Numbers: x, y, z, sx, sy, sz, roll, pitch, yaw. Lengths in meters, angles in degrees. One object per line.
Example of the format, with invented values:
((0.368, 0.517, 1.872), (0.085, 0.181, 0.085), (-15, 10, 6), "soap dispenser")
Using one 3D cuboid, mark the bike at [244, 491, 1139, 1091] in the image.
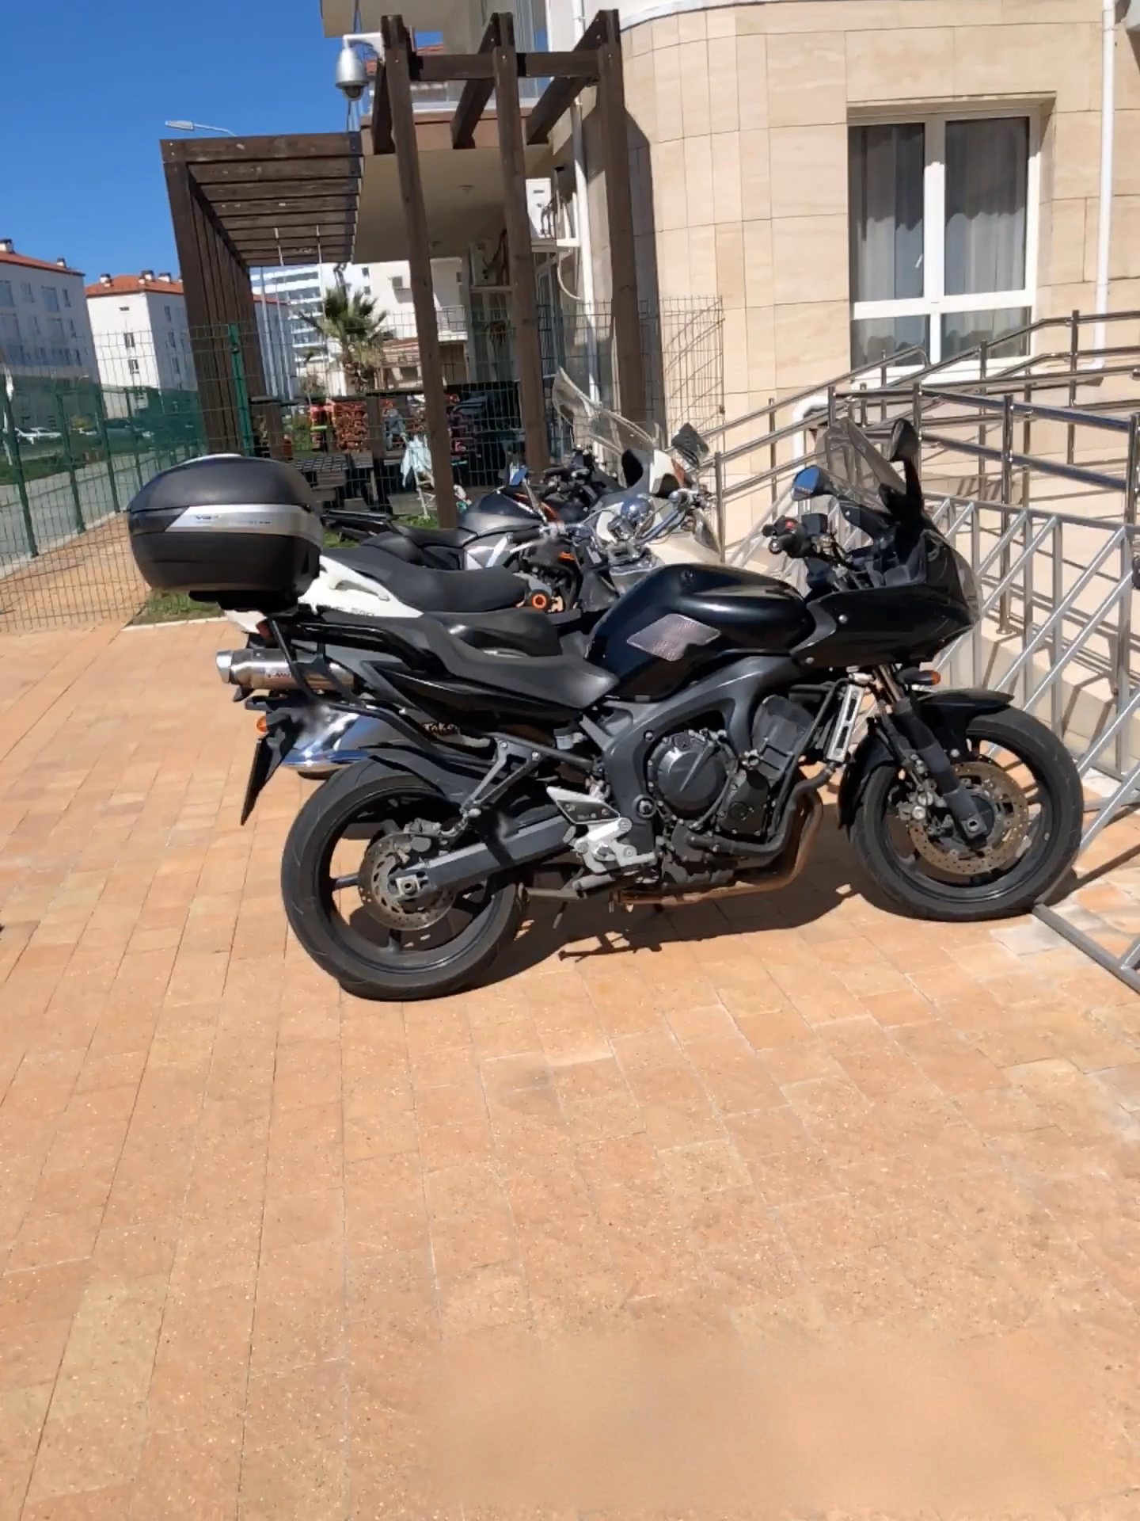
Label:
((0.342, 0.010, 2.823), (1.919, 1.003, 0.607), (-7, 15, -7), "bike")
